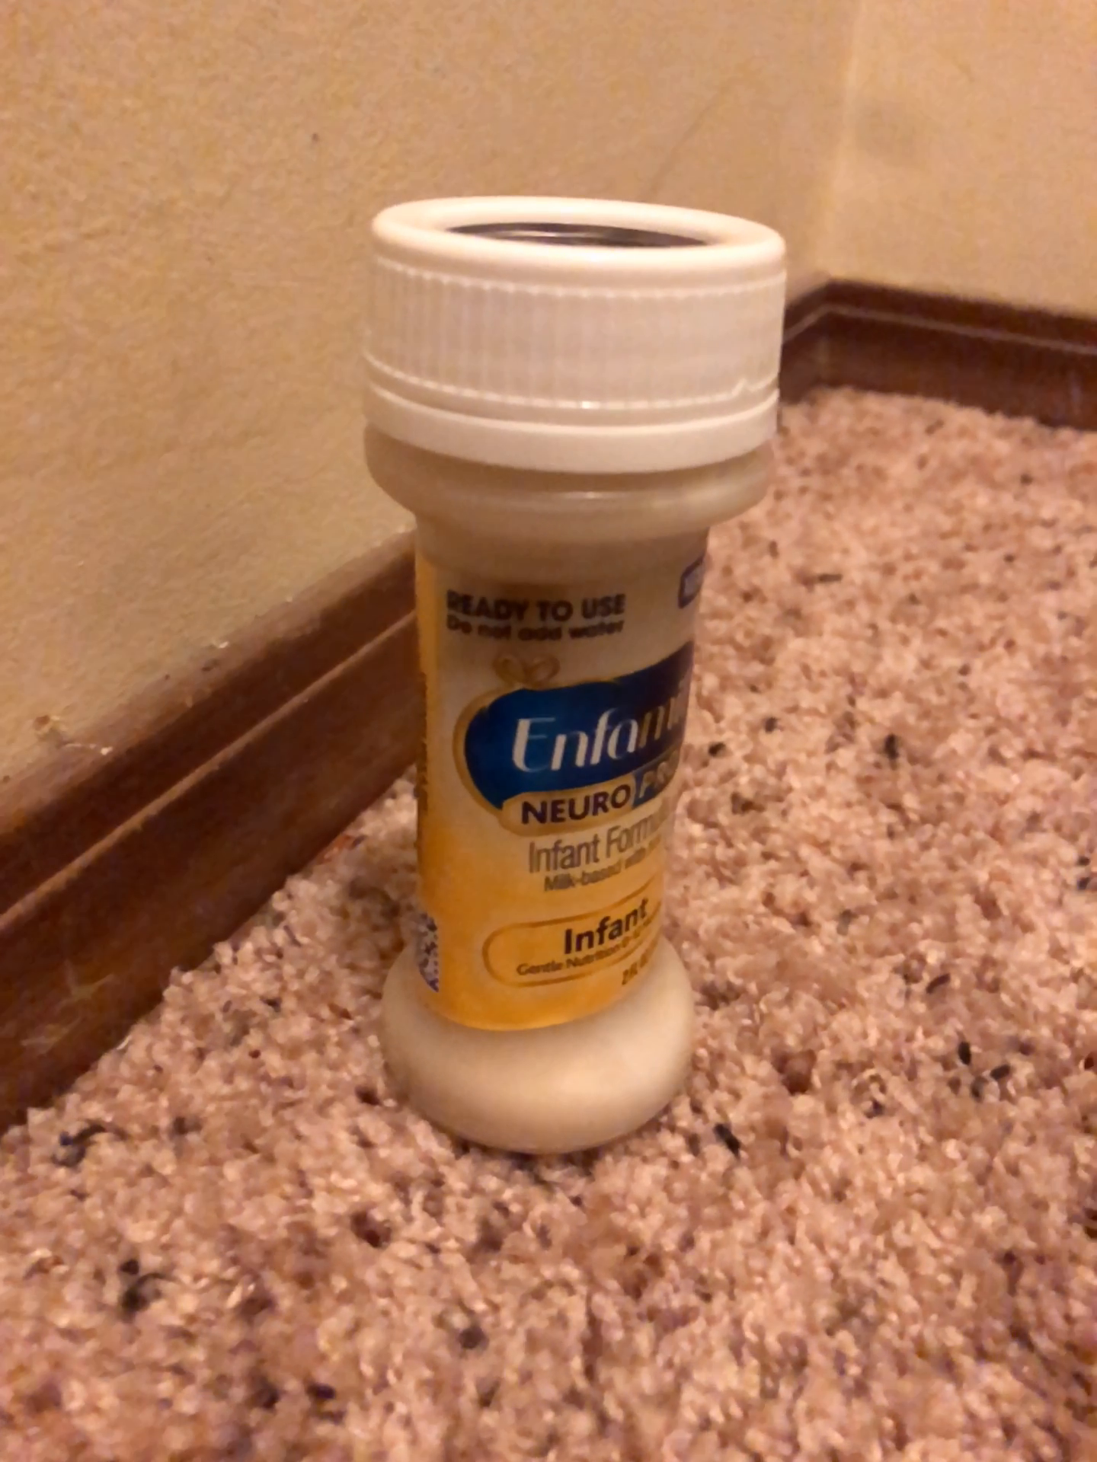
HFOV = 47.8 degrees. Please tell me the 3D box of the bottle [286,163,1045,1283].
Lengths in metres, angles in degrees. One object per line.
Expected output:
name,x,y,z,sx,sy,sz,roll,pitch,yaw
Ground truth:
bottle,0.006,-0.002,0.142,0.050,0.110,0.050,3,31,-2
